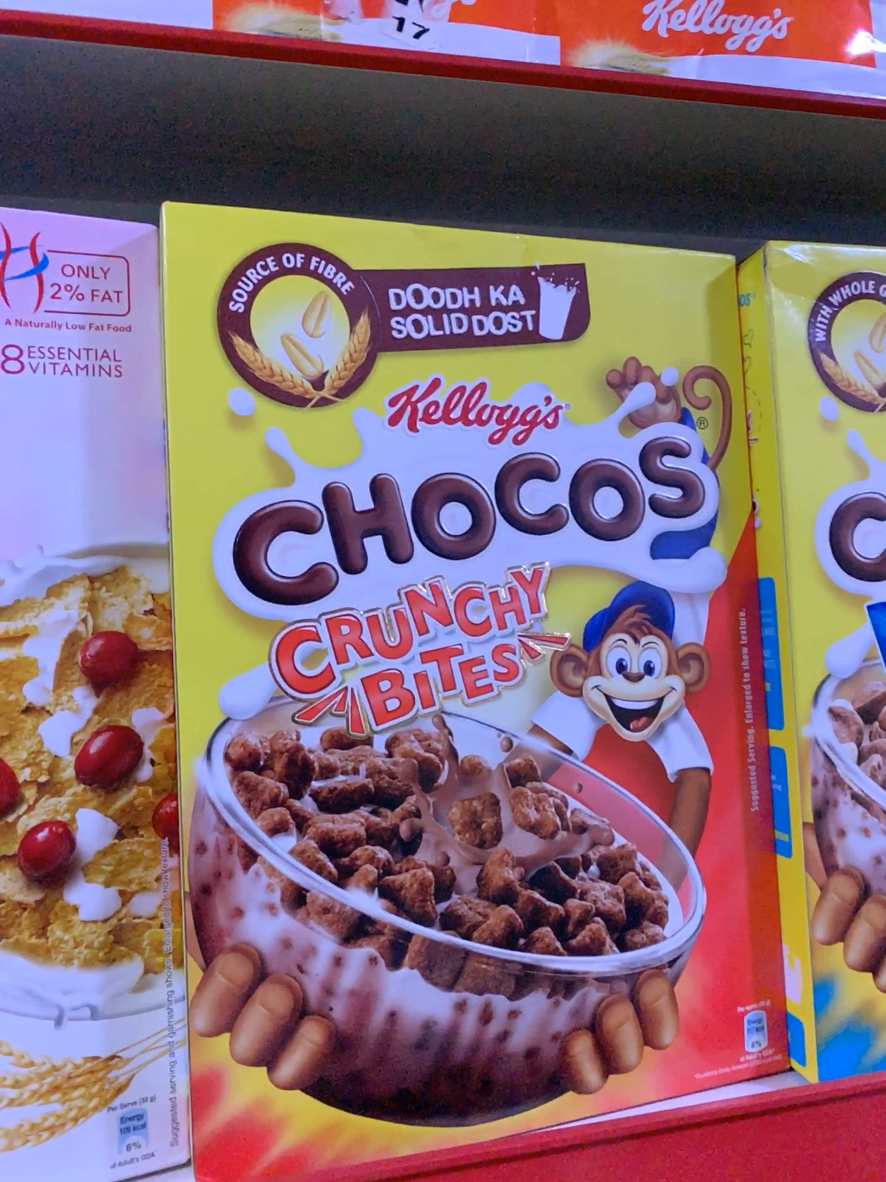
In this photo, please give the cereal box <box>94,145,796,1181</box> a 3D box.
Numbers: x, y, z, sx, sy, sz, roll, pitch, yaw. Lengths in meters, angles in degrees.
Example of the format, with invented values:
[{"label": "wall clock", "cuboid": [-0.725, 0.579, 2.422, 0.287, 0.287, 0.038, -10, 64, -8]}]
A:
[{"label": "cereal box", "cuboid": [-0.003, 0.021, 0.288, 0.190, 0.260, 0.080, -2, -4, -22]}]
